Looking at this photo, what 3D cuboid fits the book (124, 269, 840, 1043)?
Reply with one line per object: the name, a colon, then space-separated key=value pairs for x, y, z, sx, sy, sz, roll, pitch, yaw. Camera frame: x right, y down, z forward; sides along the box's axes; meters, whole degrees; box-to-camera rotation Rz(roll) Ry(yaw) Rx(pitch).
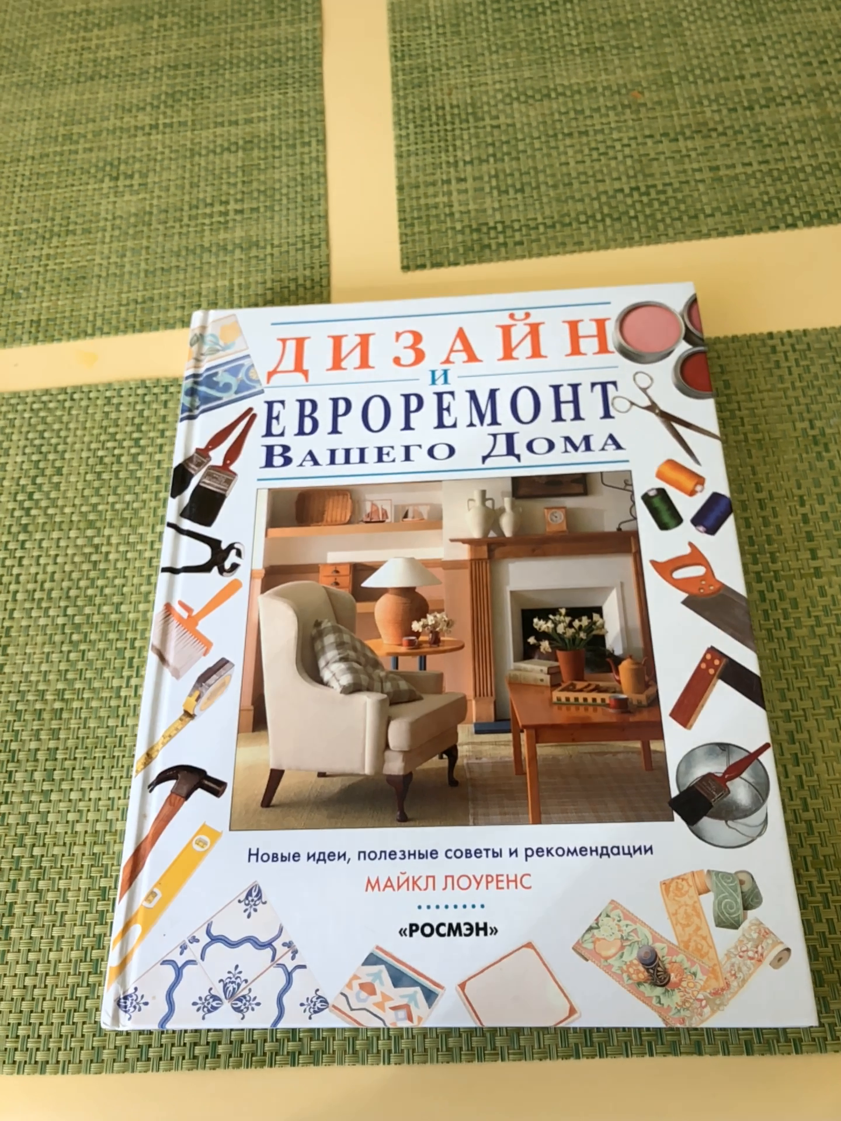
book: x=0.023 y=0.018 z=0.337 sx=0.212 sy=0.038 sz=0.276 roll=-2 pitch=64 yaw=3
